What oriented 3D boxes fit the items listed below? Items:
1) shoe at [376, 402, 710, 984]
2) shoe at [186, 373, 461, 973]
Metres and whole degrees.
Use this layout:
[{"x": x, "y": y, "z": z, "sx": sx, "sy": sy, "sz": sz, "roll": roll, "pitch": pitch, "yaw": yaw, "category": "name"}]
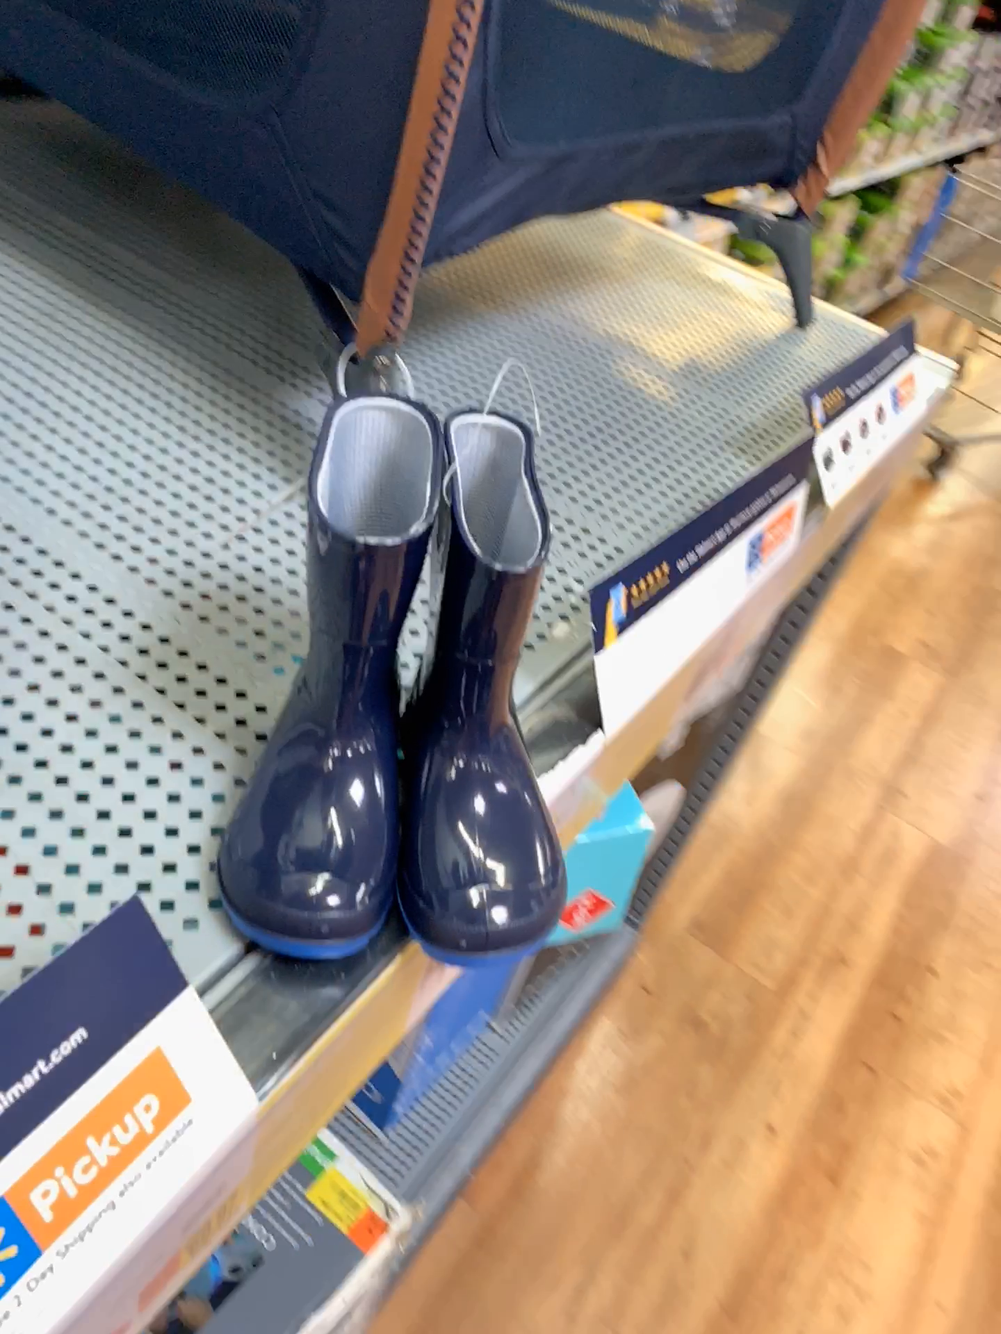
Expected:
[{"x": 0.000, "y": 0.006, "z": 0.401, "sx": 0.076, "sy": 0.143, "sz": 0.174, "roll": 2, "pitch": 41, "yaw": -13, "category": "shoe"}, {"x": -0.065, "y": -0.002, "z": 0.390, "sx": 0.074, "sy": 0.143, "sz": 0.174, "roll": 6, "pitch": 41, "yaw": -9, "category": "shoe"}]
